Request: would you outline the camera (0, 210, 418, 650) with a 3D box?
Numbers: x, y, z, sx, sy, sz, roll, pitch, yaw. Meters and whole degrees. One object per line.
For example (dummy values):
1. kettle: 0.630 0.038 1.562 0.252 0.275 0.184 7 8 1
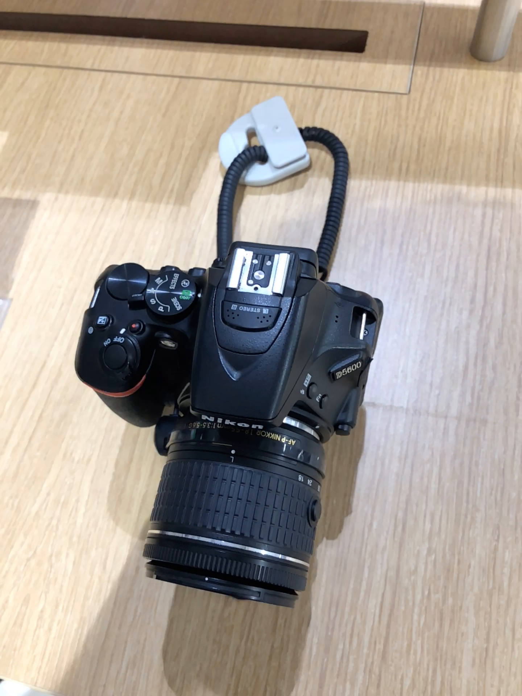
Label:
1. camera: -0.012 0.027 0.221 0.120 0.070 0.130 8 66 10
